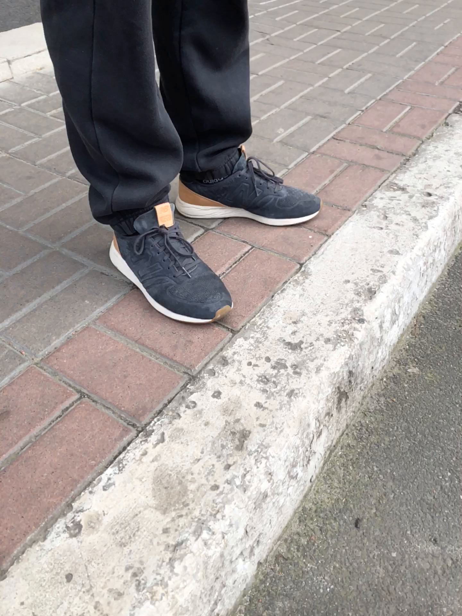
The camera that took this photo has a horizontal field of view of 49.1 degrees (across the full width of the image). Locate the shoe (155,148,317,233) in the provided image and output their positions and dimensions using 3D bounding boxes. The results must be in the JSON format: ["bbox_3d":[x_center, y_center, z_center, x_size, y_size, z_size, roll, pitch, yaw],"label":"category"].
[{"bbox_3d":[0.014,-0.221,0.942,0.280,0.109,0.105,3,41,7],"label":"shoe"}]

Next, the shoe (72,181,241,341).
[{"bbox_3d":[-0.119,-0.084,0.782,0.104,0.109,0.281,-31,48,-29],"label":"shoe"}]
